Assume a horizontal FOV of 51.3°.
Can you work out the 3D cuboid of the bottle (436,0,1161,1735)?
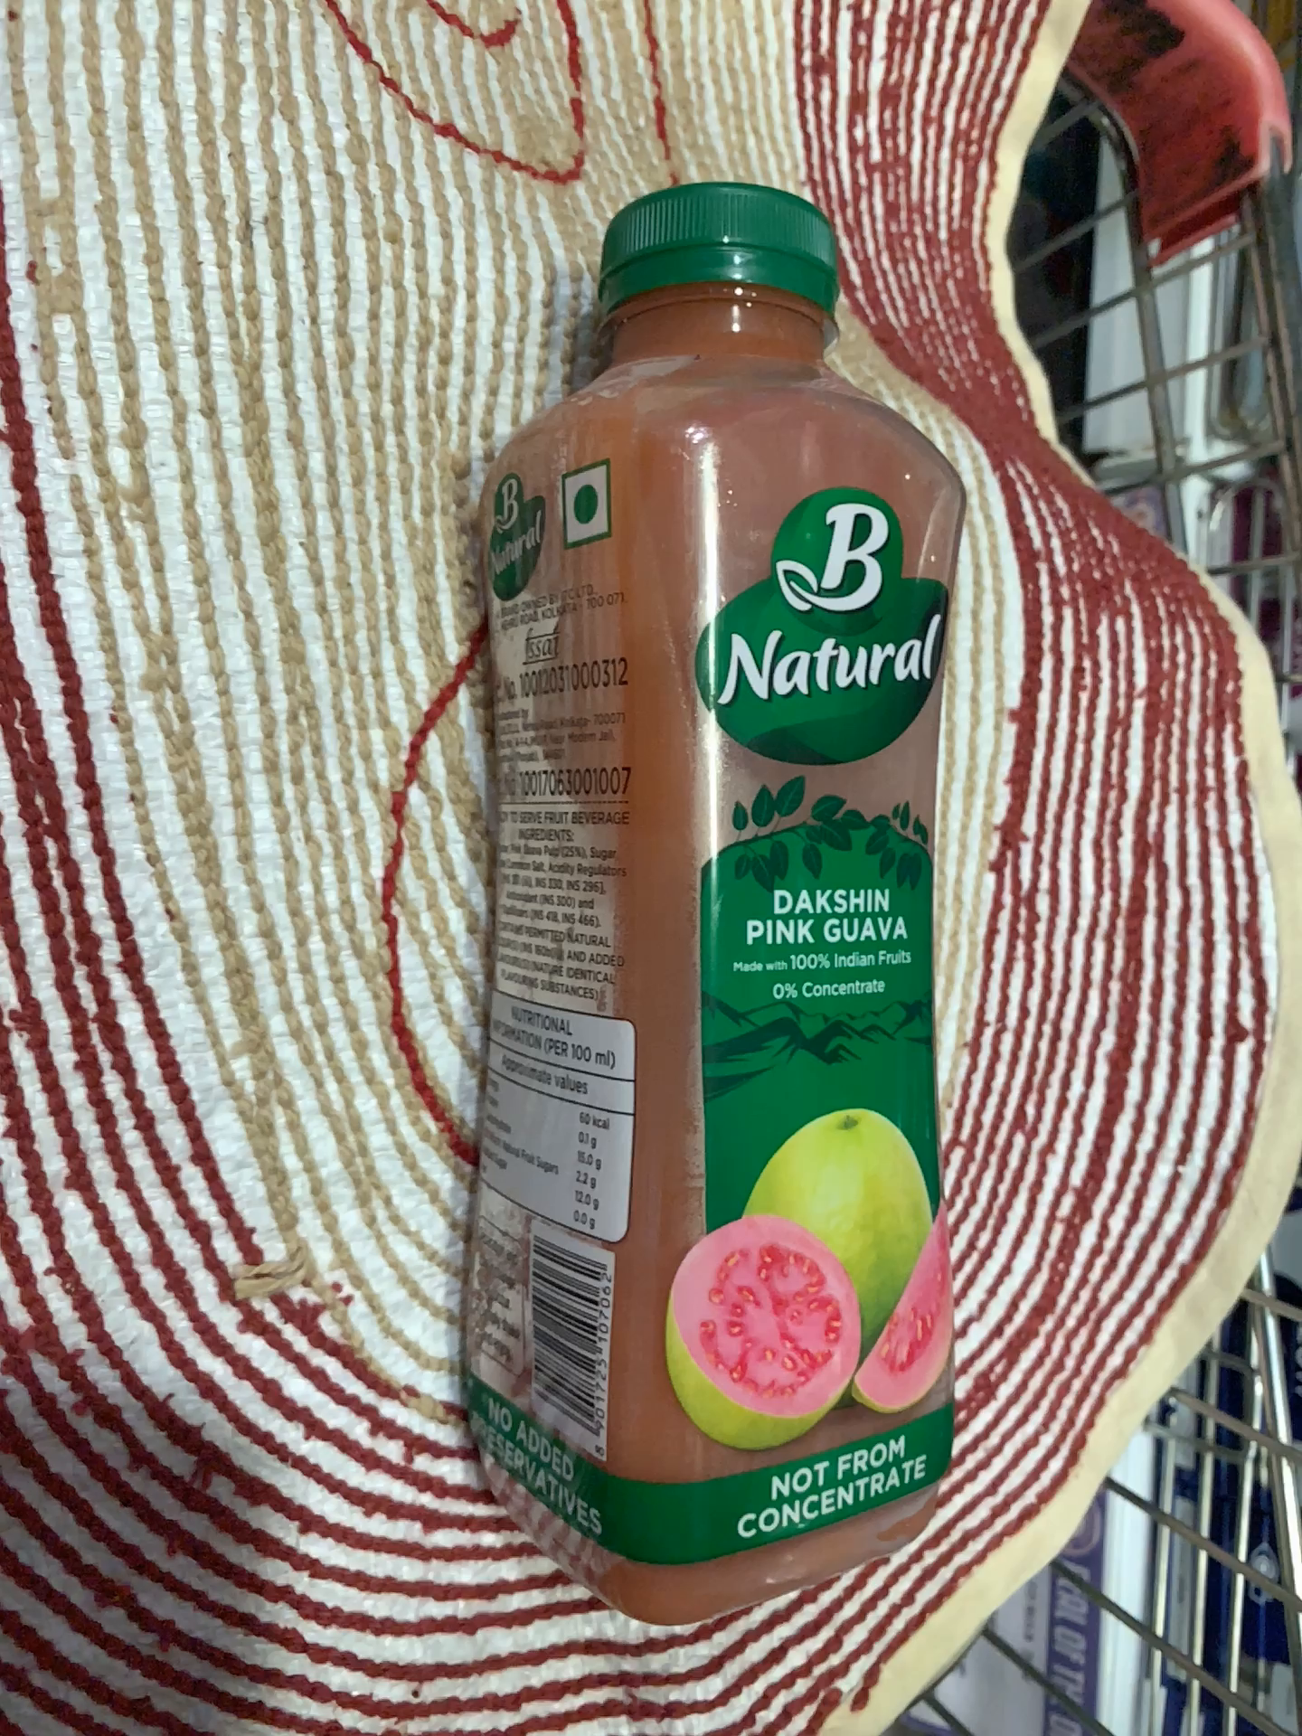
[{"bbox_3d":[0.020,-0.004,0.196,0.080,0.060,0.210,1,91,-33],"label":"bottle"}]
